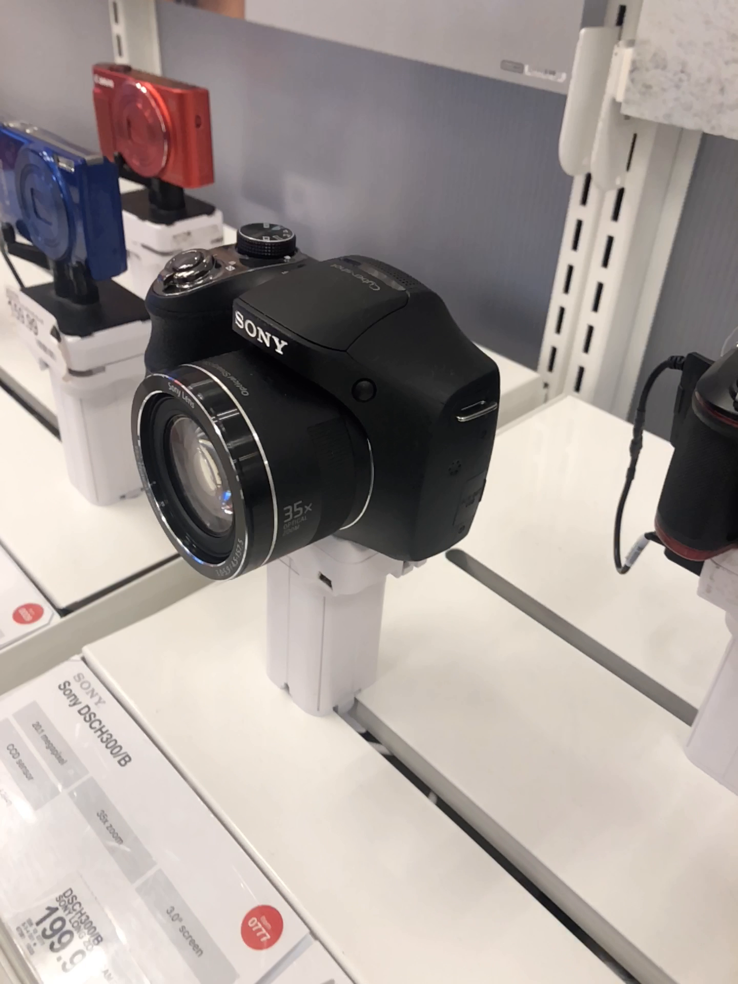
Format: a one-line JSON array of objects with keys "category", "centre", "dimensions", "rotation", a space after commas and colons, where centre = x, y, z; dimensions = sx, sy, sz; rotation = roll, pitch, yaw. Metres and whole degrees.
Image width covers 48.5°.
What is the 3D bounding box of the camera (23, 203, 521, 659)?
[{"category": "camera", "centre": [-0.032, -0.029, 0.258], "dimensions": [0.087, 0.076, 0.119], "rotation": [-28, 47, -36]}]
